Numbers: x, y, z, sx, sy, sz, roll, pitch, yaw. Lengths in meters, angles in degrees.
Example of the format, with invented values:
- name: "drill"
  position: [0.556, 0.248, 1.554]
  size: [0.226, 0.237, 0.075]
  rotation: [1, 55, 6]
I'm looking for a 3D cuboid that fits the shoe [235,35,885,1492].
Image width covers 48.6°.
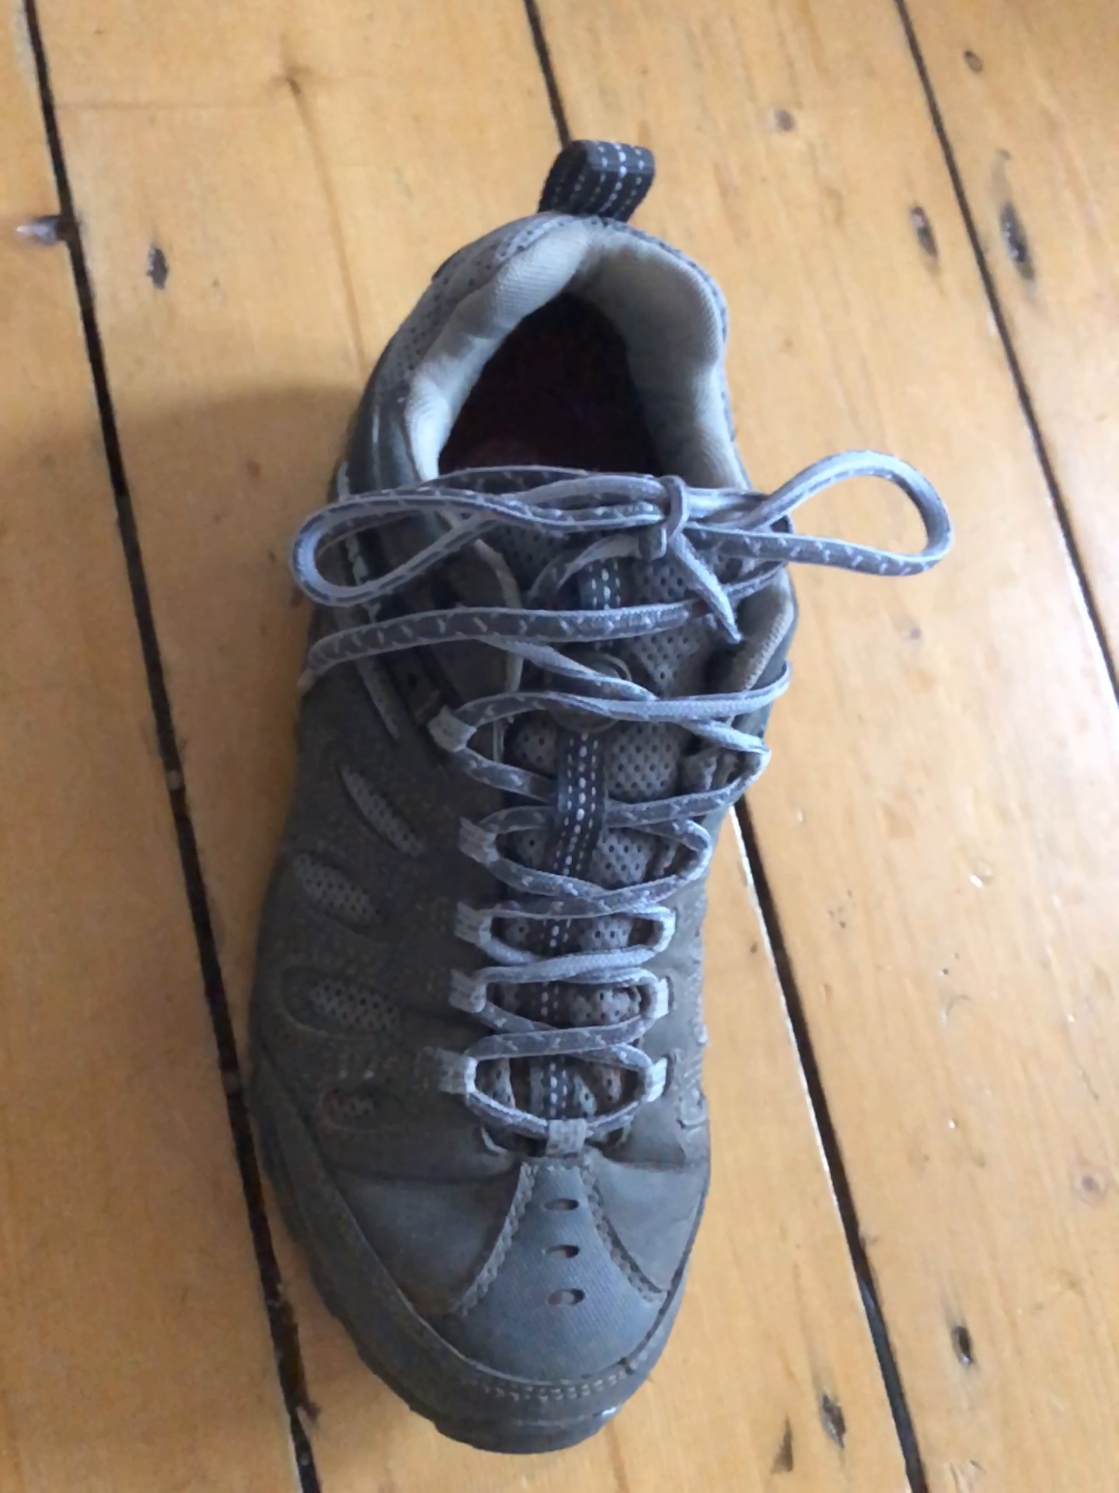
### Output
- name: "shoe"
  position: [-0.011, 0.011, 0.279]
  size: [0.100, 0.110, 0.280]
  rotation: [3, 76, -18]
